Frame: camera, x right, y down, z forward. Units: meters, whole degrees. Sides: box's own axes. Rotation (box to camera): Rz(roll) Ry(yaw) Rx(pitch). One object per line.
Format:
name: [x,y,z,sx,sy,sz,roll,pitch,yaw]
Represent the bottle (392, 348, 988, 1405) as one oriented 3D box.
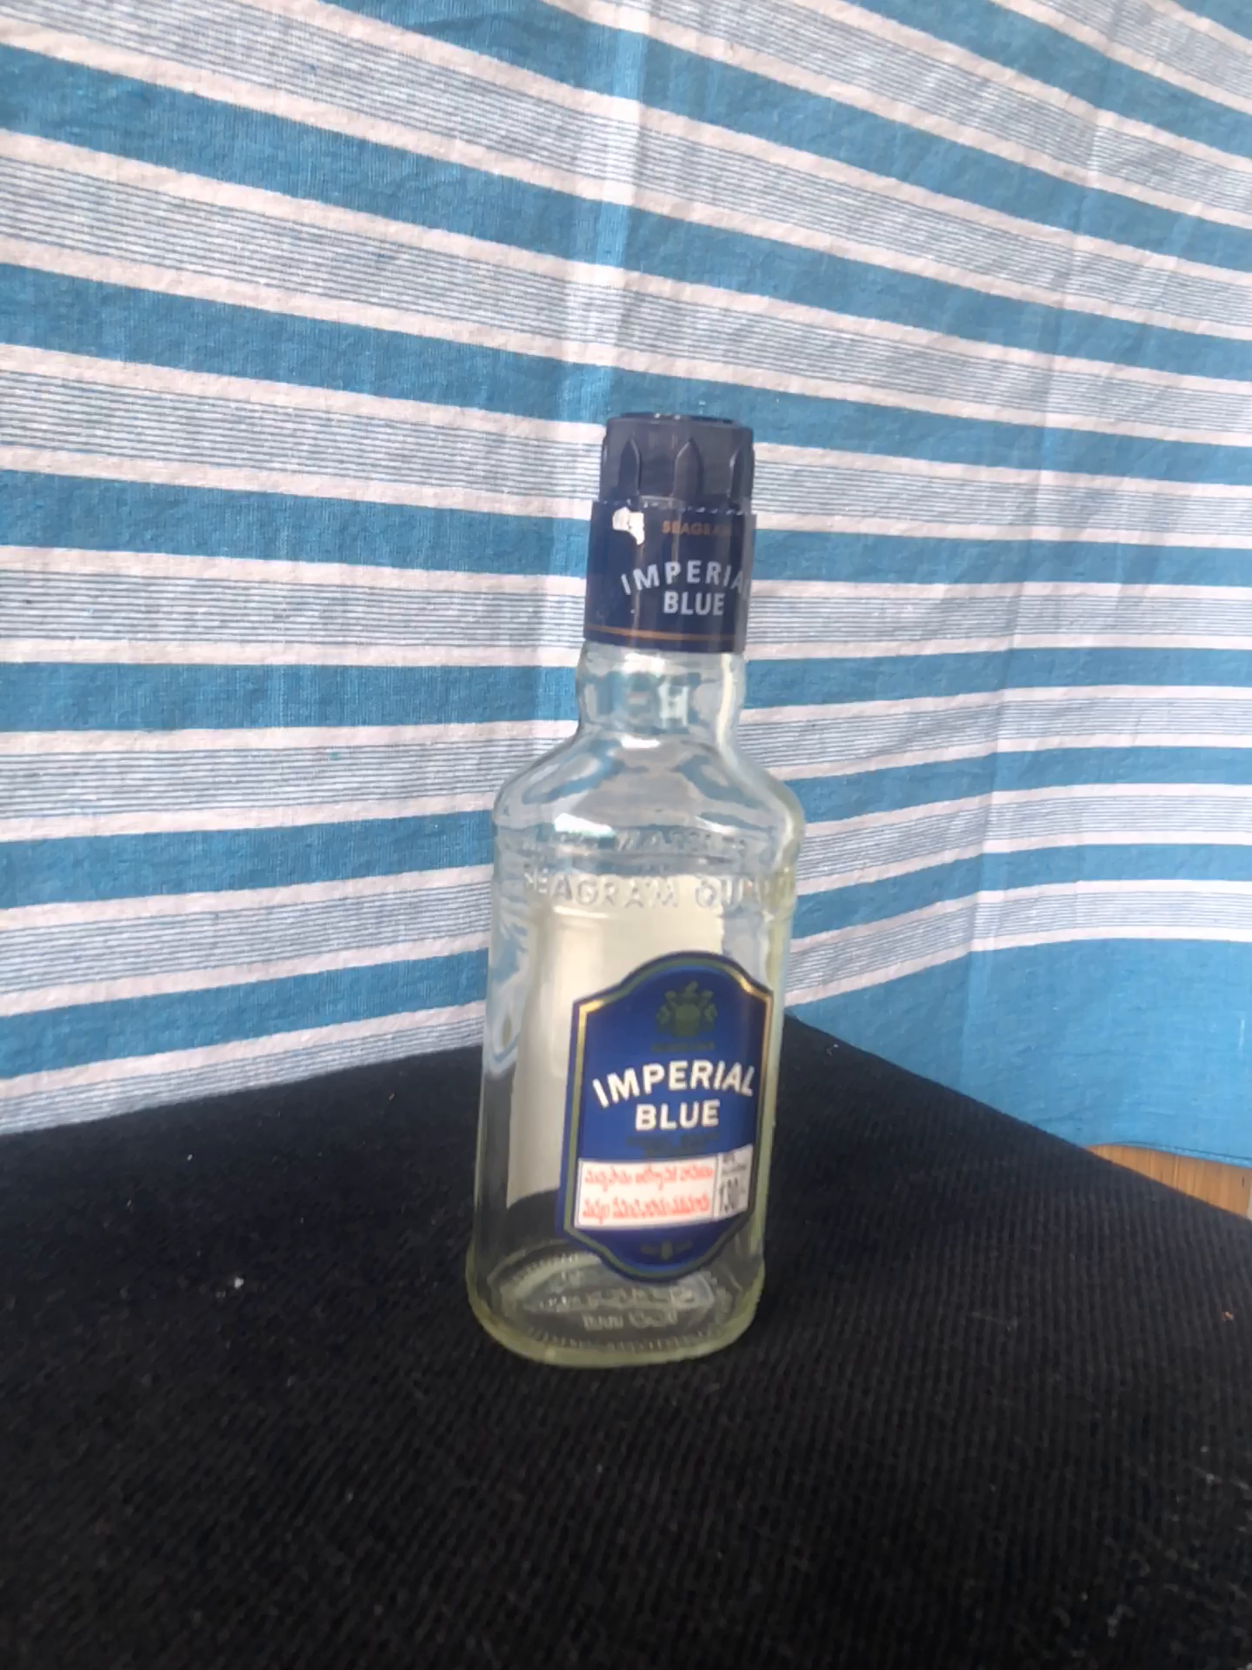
bottle: [0.005,0.009,0.248,0.070,0.169,0.050,3,14,-20]
